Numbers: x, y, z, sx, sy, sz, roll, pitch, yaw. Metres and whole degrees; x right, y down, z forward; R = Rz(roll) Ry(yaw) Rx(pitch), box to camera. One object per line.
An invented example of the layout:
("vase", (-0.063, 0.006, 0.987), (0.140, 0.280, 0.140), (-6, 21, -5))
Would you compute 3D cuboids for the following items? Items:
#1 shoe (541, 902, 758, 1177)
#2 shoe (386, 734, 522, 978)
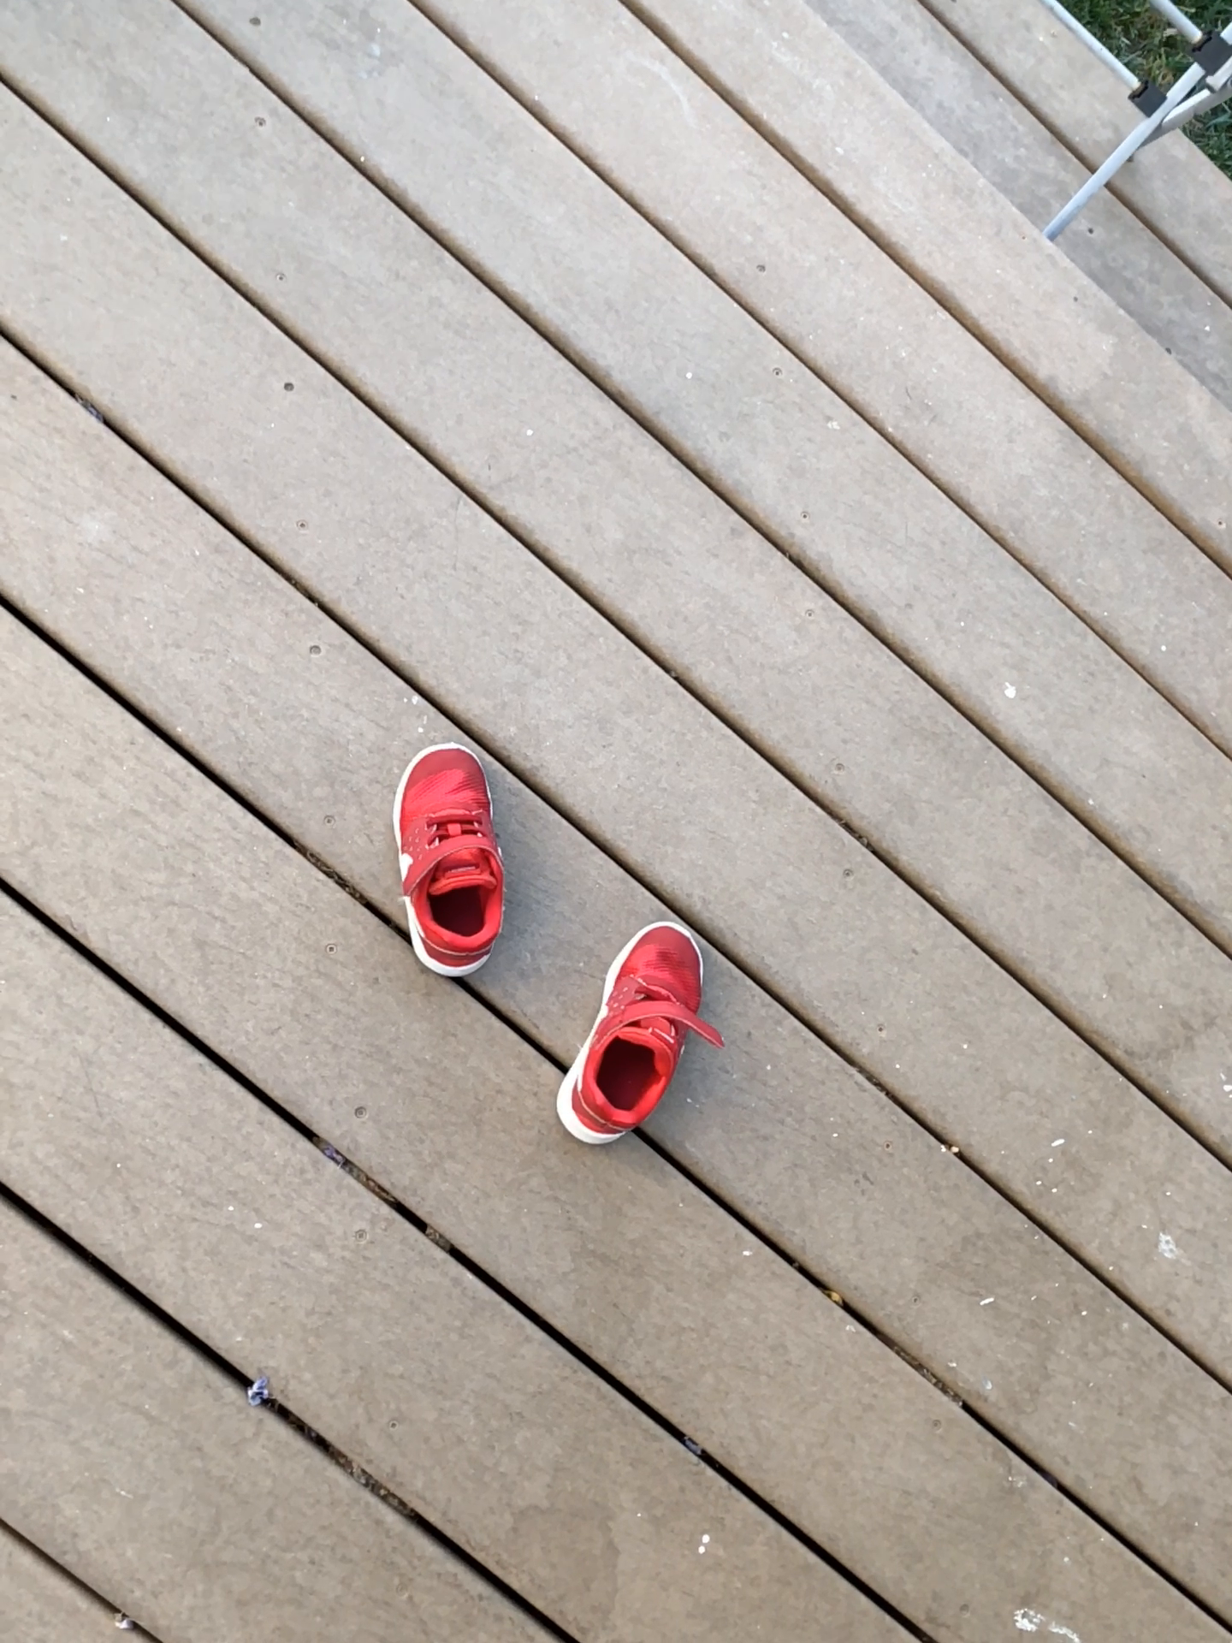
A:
("shoe", (0.023, 0.148, 0.919), (0.069, 0.069, 0.164), (29, 72, -9))
("shoe", (-0.111, 0.024, 0.907), (0.073, 0.069, 0.153), (-1, 79, -17))
